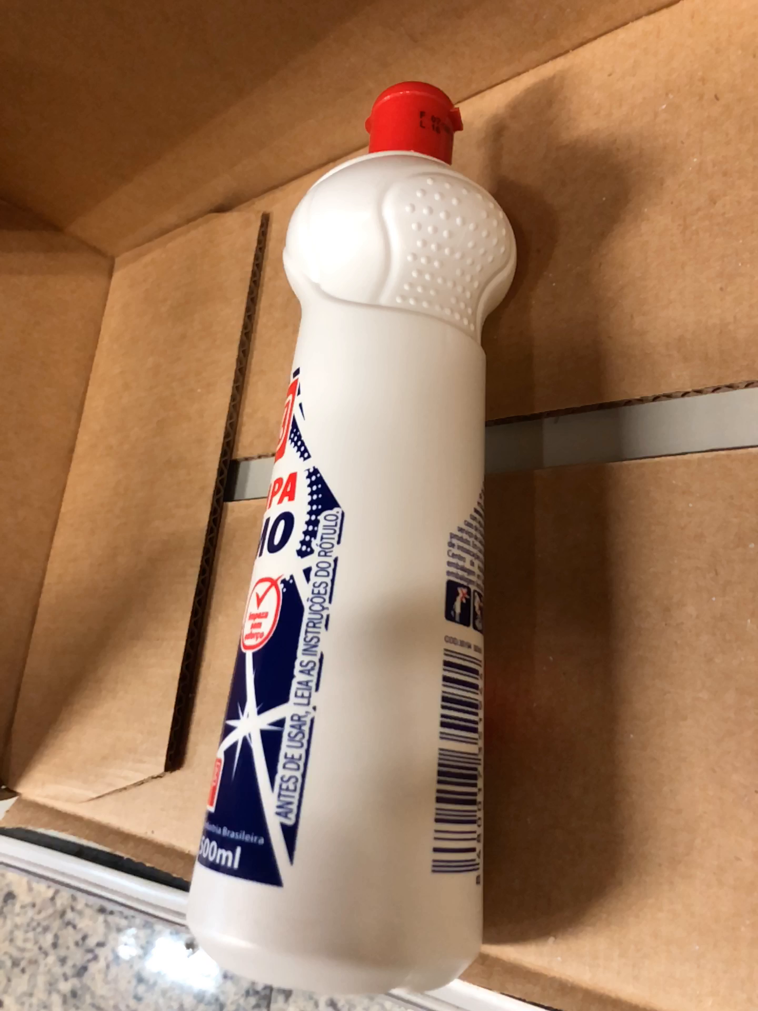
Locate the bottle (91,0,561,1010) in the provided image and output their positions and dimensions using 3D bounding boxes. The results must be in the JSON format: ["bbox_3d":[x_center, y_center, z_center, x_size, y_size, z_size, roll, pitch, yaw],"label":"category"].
[{"bbox_3d":[-0.006,-0.021,0.224,0.080,0.060,0.260,-8,71,39],"label":"bottle"}]
